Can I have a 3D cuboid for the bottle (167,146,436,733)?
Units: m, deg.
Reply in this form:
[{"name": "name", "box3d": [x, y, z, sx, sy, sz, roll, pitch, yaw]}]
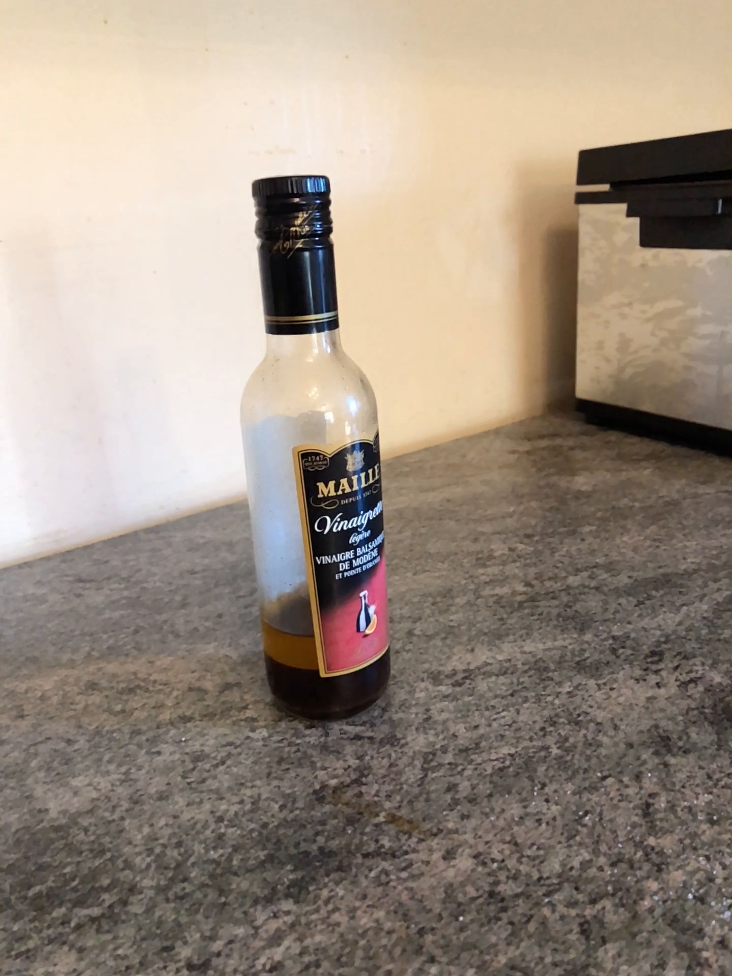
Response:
[{"name": "bottle", "box3d": [-0.023, -0.022, 0.353, 0.070, 0.229, 0.070, -3, 18, 1]}]
